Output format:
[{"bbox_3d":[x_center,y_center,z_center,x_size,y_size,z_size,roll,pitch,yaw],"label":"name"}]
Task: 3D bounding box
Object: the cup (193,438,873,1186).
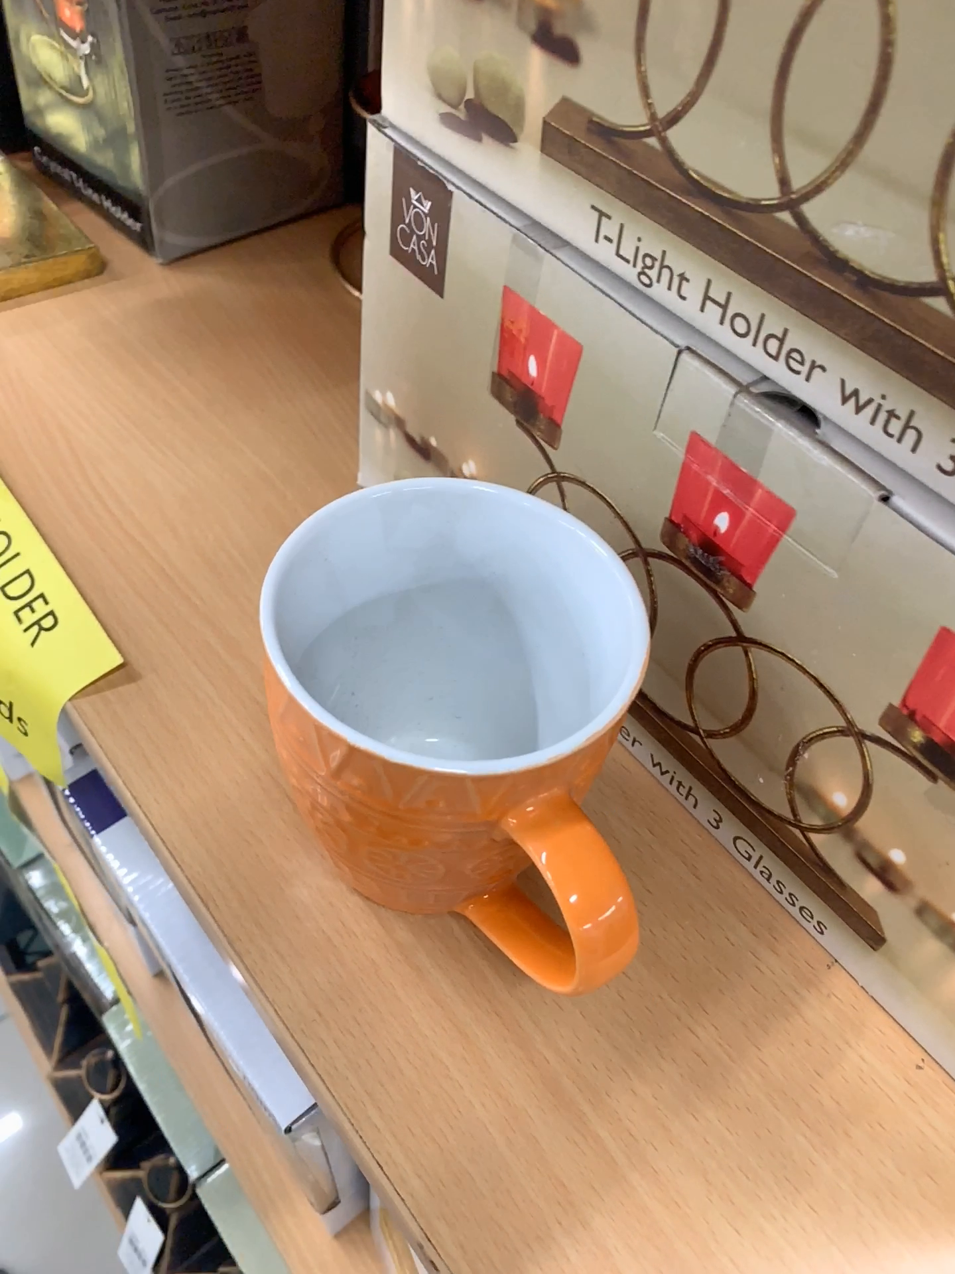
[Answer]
[{"bbox_3d":[0.001,0.033,0.220,0.080,0.080,0.120,-21,57,-25],"label":"cup"}]
